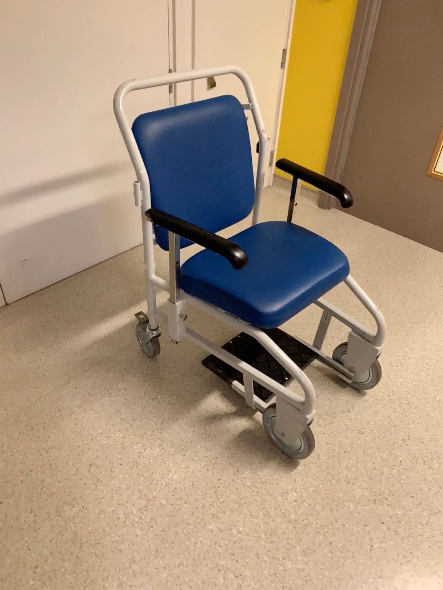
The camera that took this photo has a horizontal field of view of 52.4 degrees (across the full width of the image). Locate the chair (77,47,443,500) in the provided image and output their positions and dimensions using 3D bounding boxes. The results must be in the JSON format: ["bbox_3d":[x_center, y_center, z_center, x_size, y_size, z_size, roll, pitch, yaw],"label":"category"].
[{"bbox_3d":[0.191,-0.158,1.569,0.824,1.029,0.945,-30,50,-34],"label":"chair"}]
